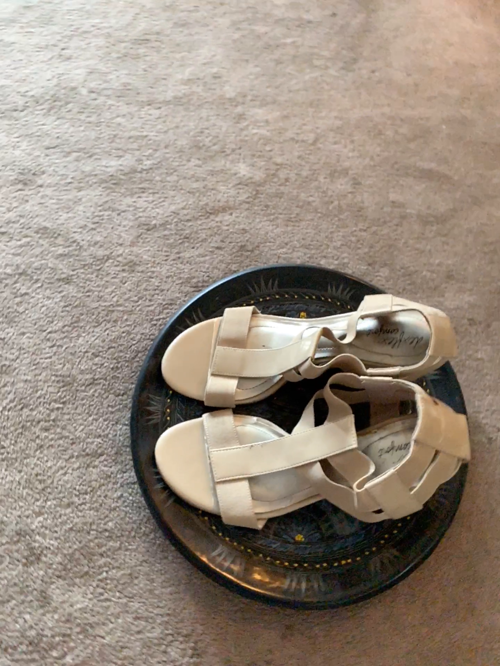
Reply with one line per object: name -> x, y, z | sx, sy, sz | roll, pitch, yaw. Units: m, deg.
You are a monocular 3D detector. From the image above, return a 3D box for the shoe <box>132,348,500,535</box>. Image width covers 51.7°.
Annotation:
shoe -> 0.040, 0.075, 0.348 | 0.220, 0.099, 0.100 | 0, 68, -7

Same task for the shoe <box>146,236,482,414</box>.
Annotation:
shoe -> 0.038, -0.004, 0.396 | 0.220, 0.099, 0.090 | -4, 68, -9
